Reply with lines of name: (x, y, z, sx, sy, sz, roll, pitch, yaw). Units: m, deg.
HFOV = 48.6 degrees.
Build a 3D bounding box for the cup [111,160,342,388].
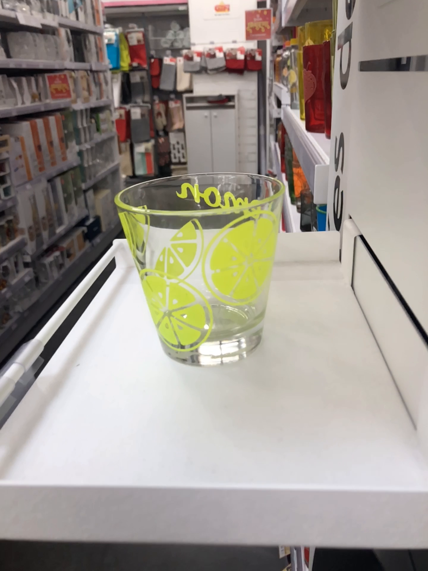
cup: (0.002, -0.013, 0.233, 0.084, 0.075, 0.080, -2, 24, 1)
